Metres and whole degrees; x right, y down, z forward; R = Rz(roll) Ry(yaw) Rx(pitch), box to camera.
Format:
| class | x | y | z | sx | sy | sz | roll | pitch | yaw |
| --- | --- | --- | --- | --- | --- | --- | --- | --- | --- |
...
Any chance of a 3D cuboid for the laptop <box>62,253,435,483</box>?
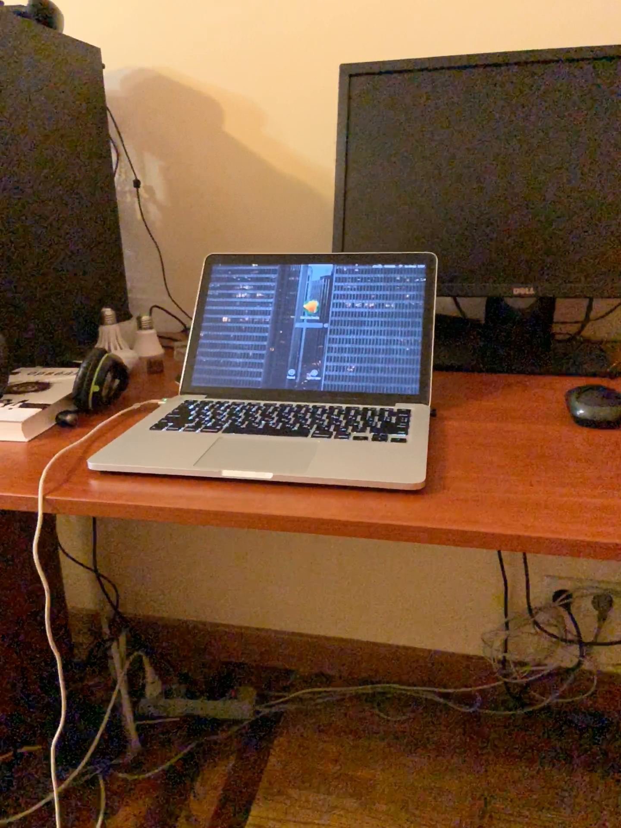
| class | x | y | z | sx | sy | sz | roll | pitch | yaw |
| --- | --- | --- | --- | --- | --- | --- | --- | --- | --- |
| laptop | -0.024 | -0.079 | 0.685 | 0.300 | 0.155 | 0.342 | 3 | 19 | 10 |
